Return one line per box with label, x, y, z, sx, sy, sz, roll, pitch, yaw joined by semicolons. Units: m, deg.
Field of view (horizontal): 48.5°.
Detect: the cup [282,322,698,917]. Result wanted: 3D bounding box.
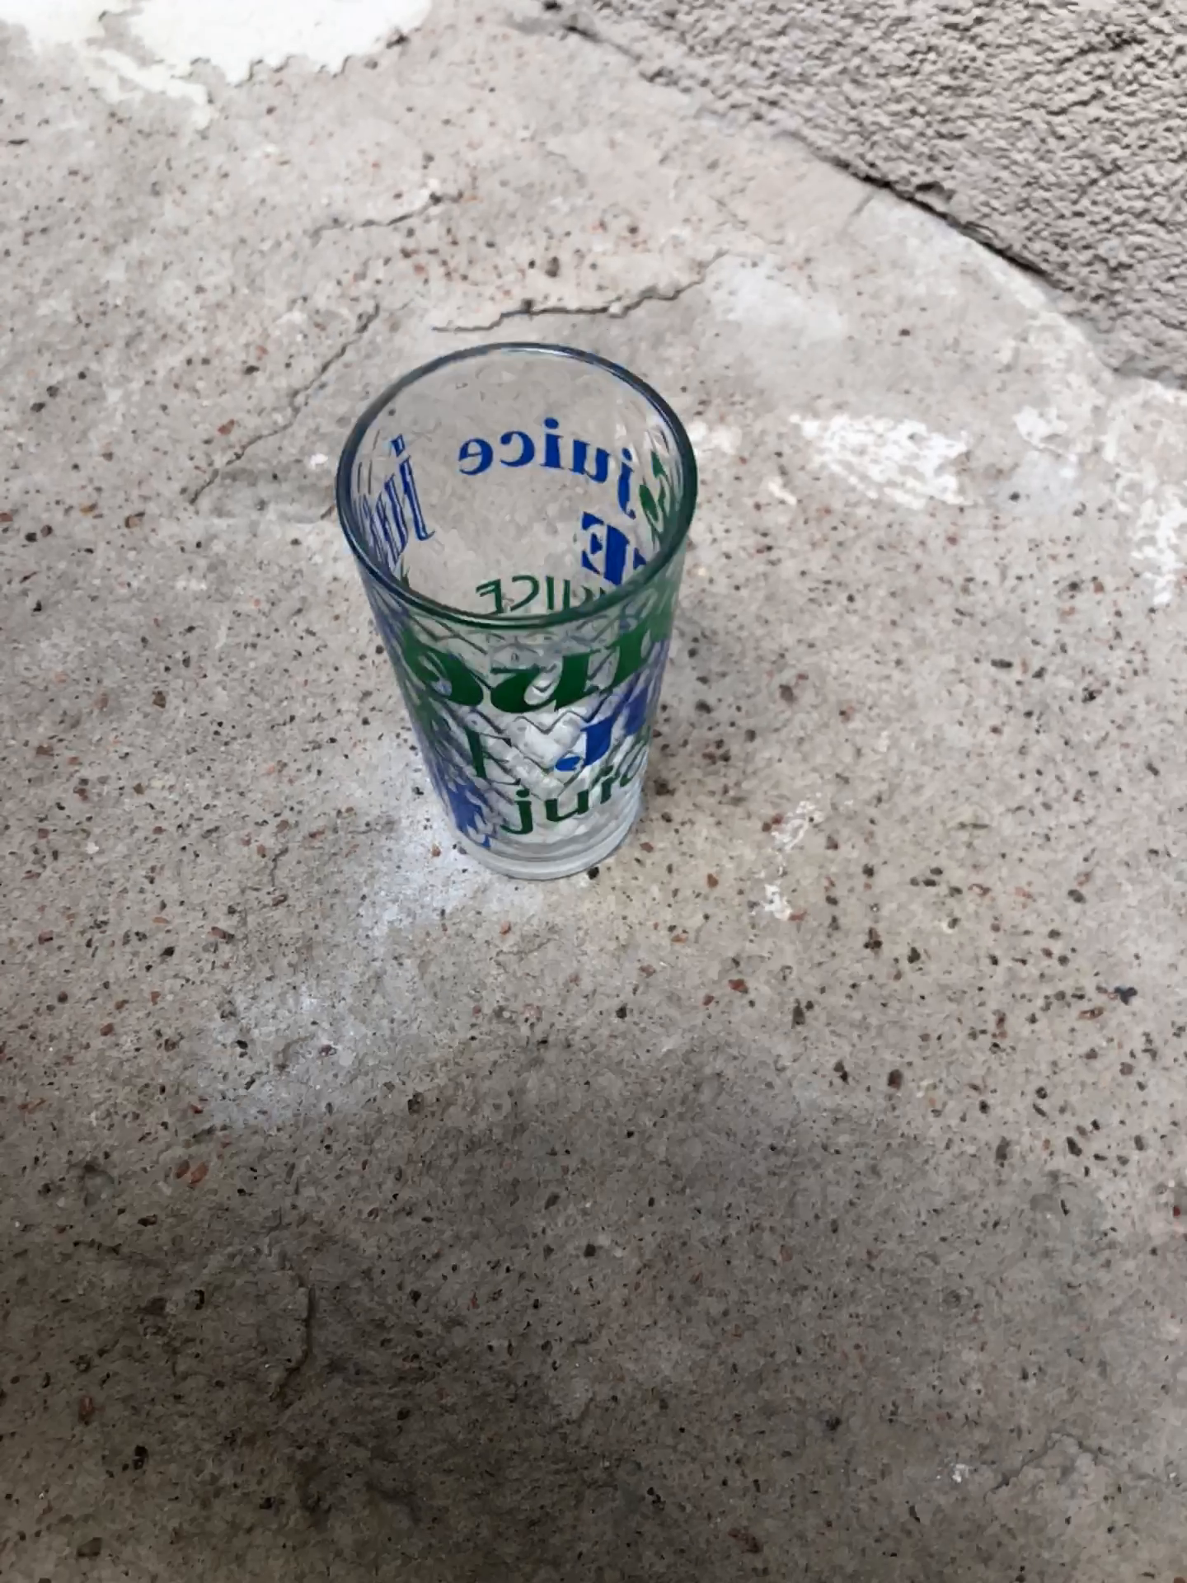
cup;-0.018;-0.028;0.285;0.067;0.126;0.066;1;64;-2
